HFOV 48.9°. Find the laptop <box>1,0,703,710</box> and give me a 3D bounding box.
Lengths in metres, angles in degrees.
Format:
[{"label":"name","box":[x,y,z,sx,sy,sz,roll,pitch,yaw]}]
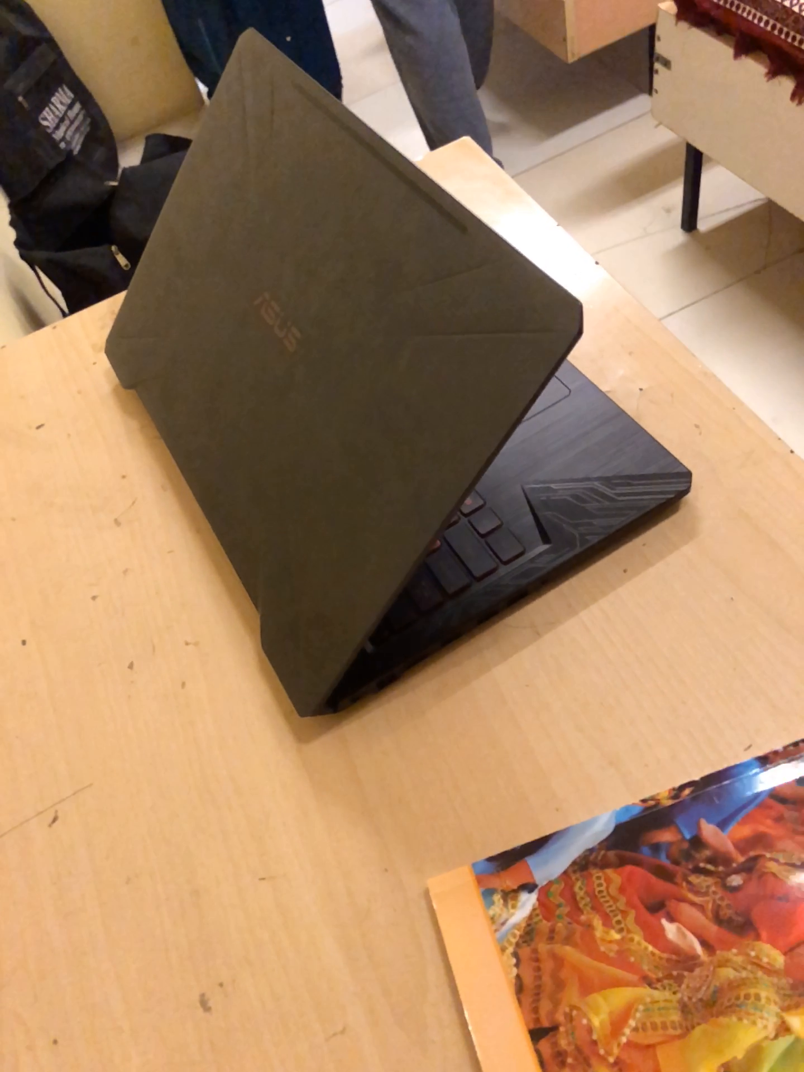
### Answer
[{"label":"laptop","box":[-0.045,-0.138,0.552,0.252,0.173,0.371,-31,54,-8]}]
